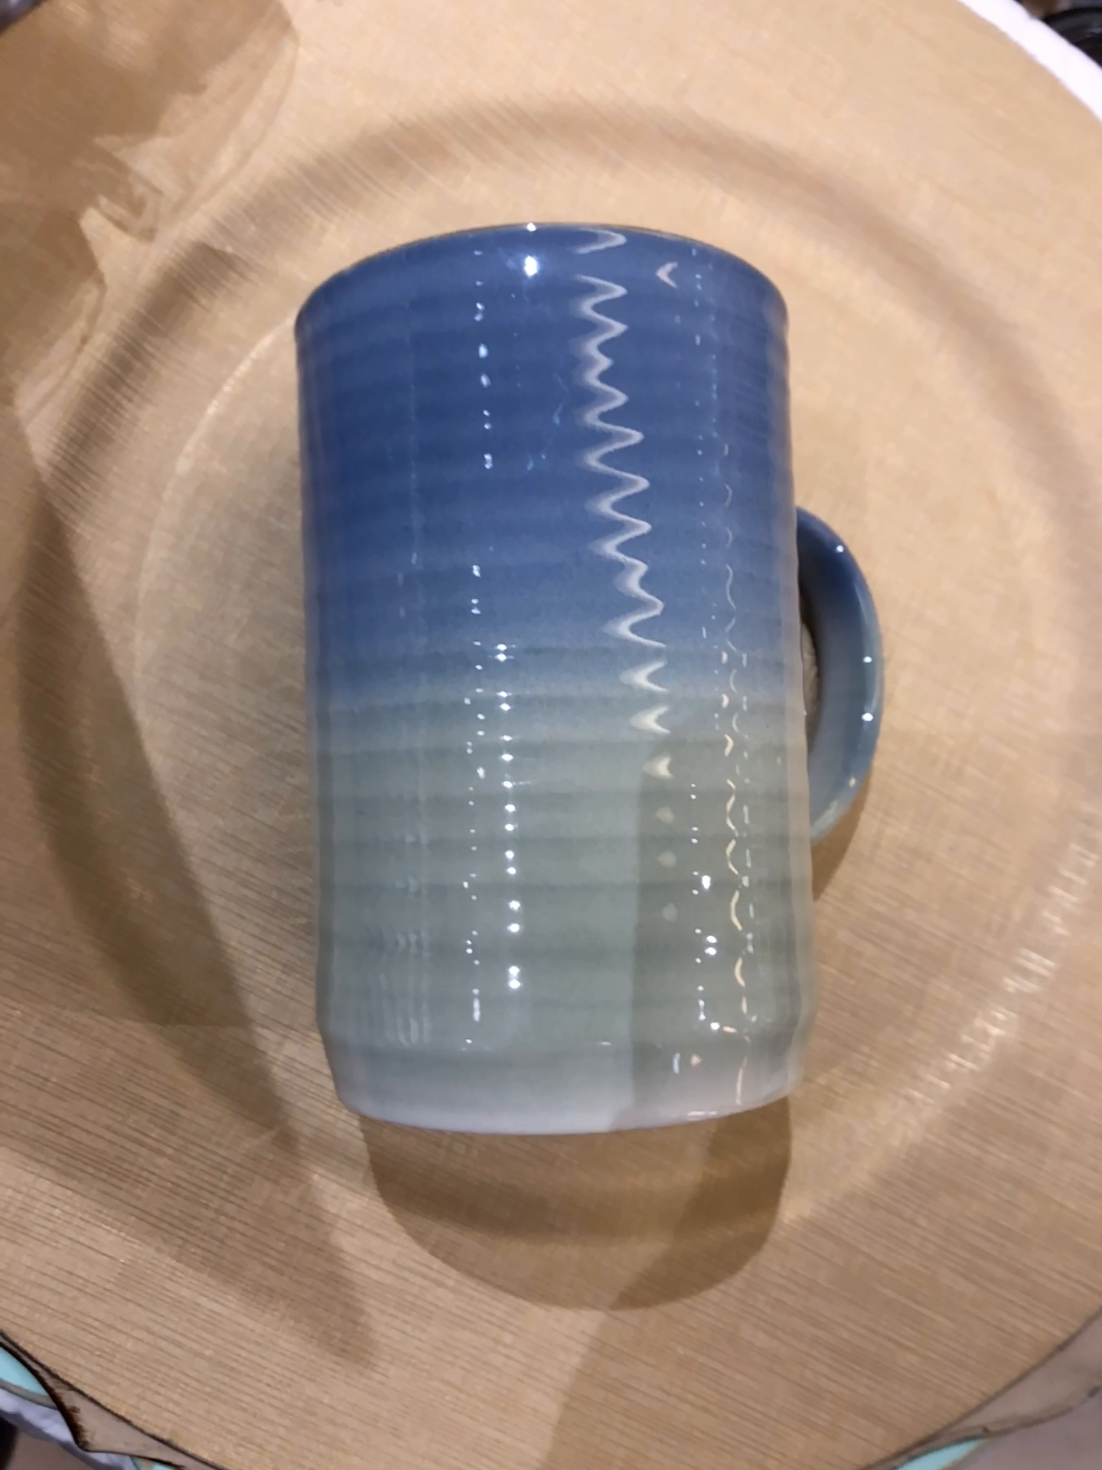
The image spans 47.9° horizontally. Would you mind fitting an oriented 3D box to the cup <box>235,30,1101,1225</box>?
[{"bbox_3d":[0.019,-0.012,0.197,0.120,0.060,0.140,1,80,-30],"label":"cup"}]
